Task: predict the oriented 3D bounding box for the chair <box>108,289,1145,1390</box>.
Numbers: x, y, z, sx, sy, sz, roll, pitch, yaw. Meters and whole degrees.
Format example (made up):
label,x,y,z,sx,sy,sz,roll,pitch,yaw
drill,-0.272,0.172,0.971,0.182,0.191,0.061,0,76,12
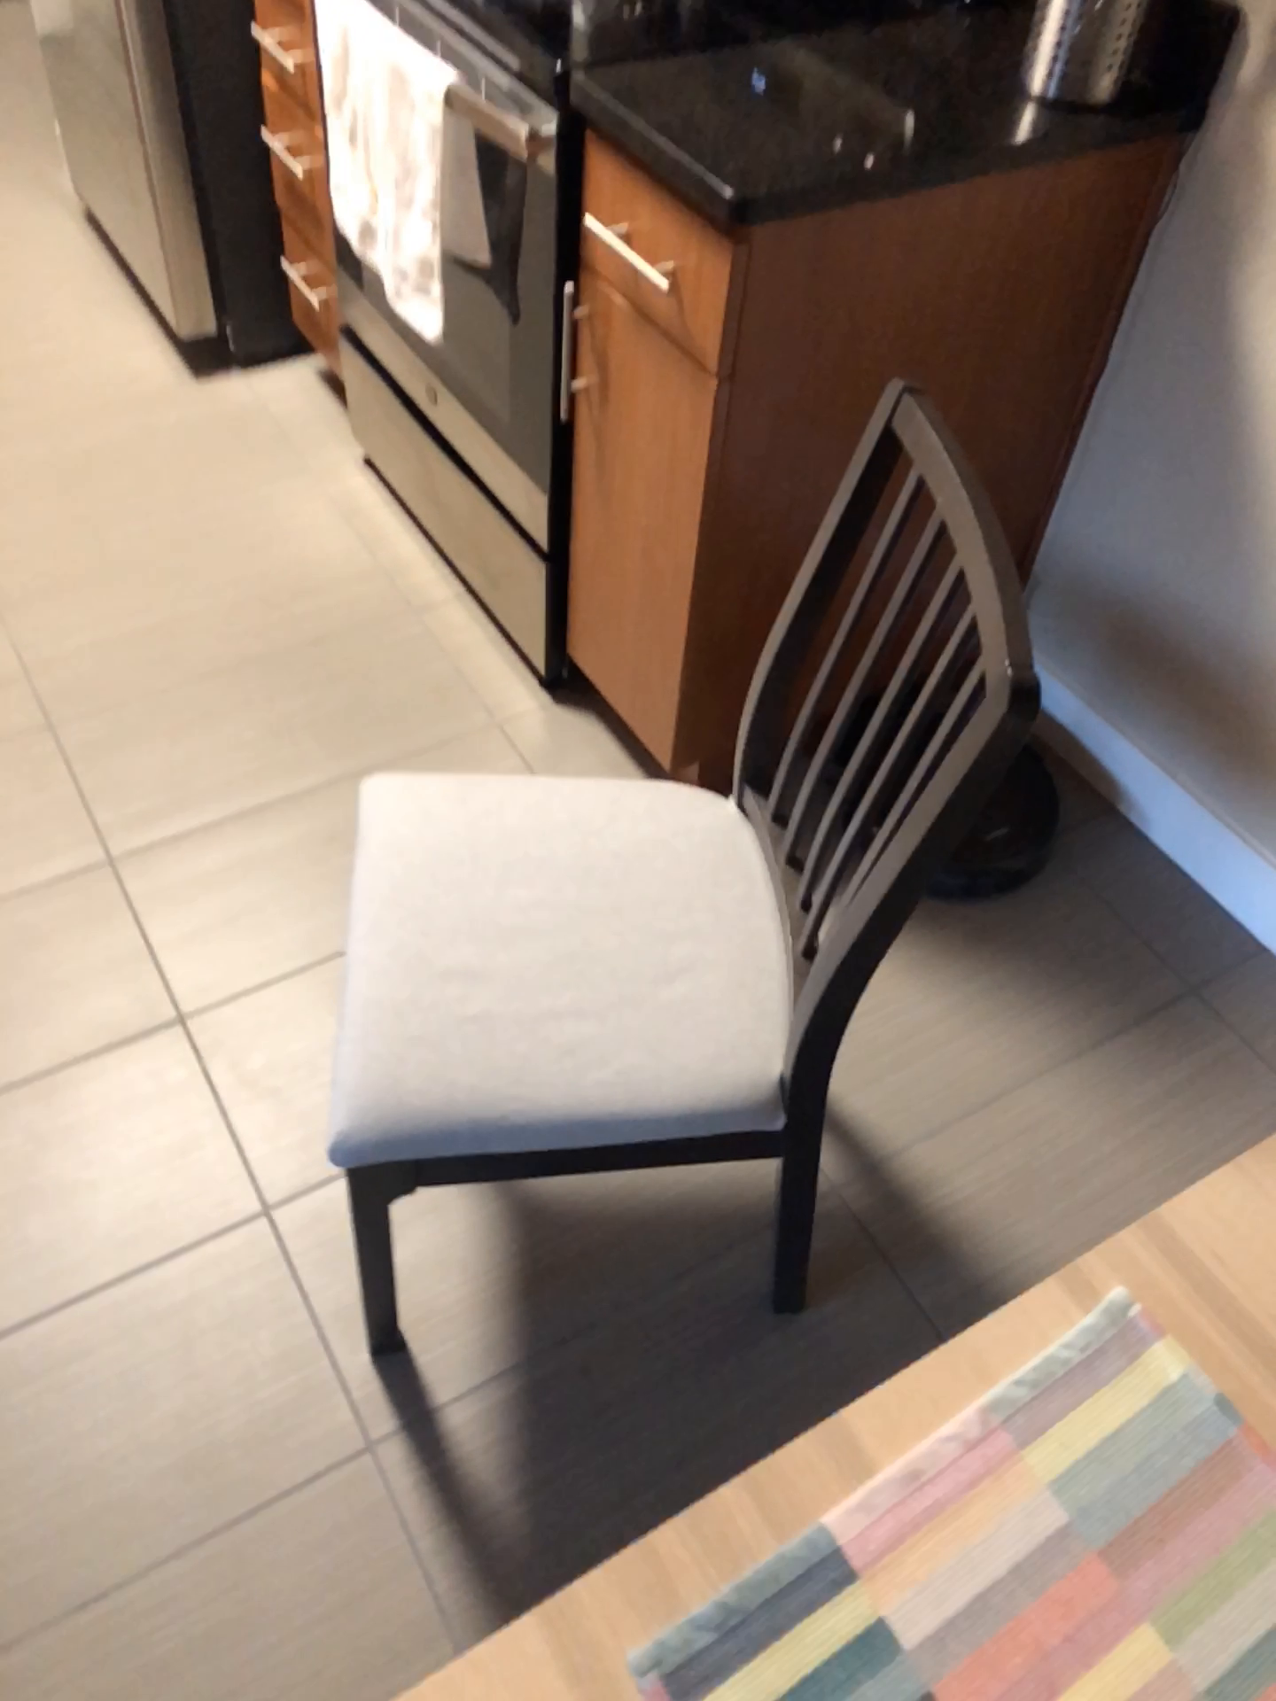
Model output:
label,x,y,z,sx,sy,sz,roll,pitch,yaw
chair,-0.047,0.037,1.296,0.590,0.846,0.582,0,48,-6
